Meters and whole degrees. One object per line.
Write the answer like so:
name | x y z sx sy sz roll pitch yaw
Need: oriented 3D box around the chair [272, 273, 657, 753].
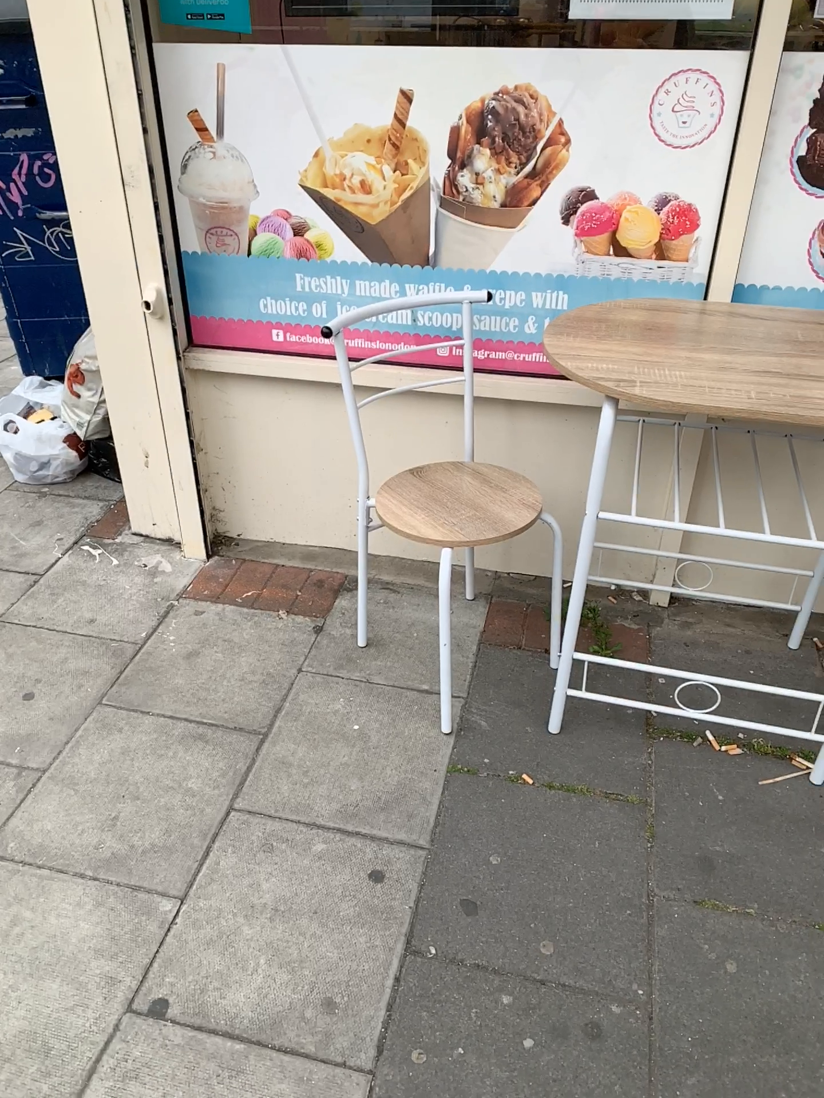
chair | 0.097 -0.110 1.781 0.532 0.752 0.503 -26 40 -36
